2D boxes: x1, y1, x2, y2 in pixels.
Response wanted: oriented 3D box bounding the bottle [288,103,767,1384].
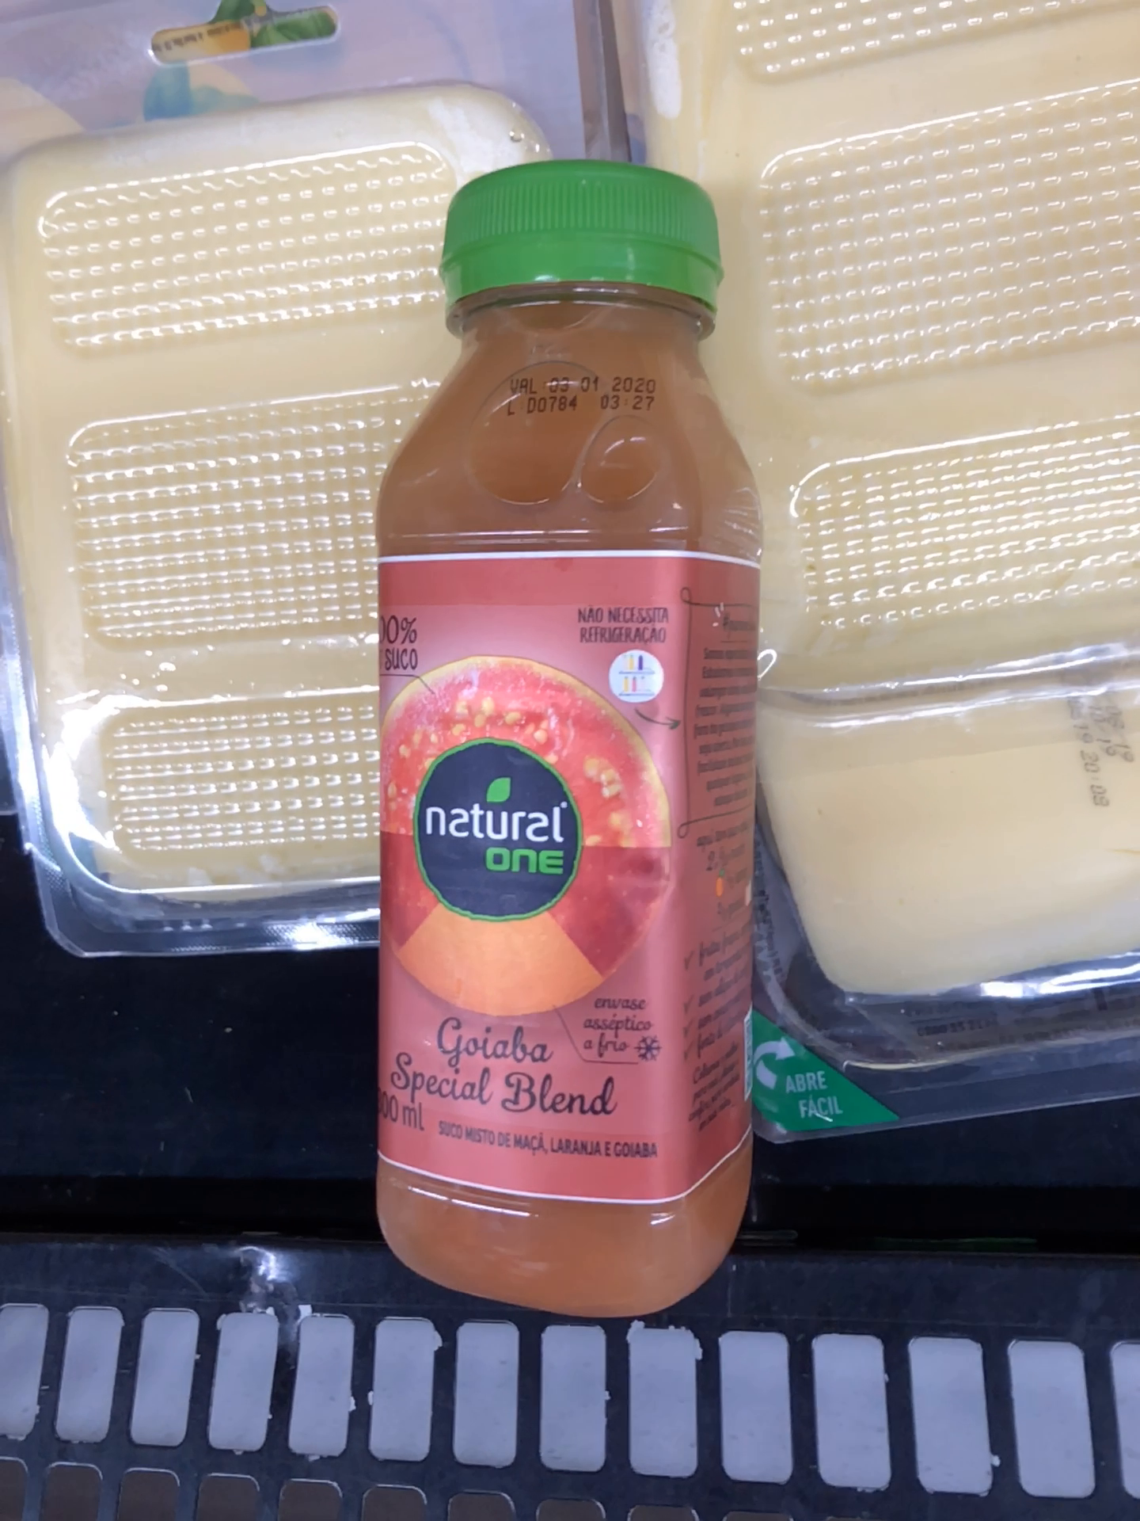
[{"bbox_3d":[-0.002,-0.003,0.221,0.060,0.070,0.180,1,88,14],"label":"bottle"}]
